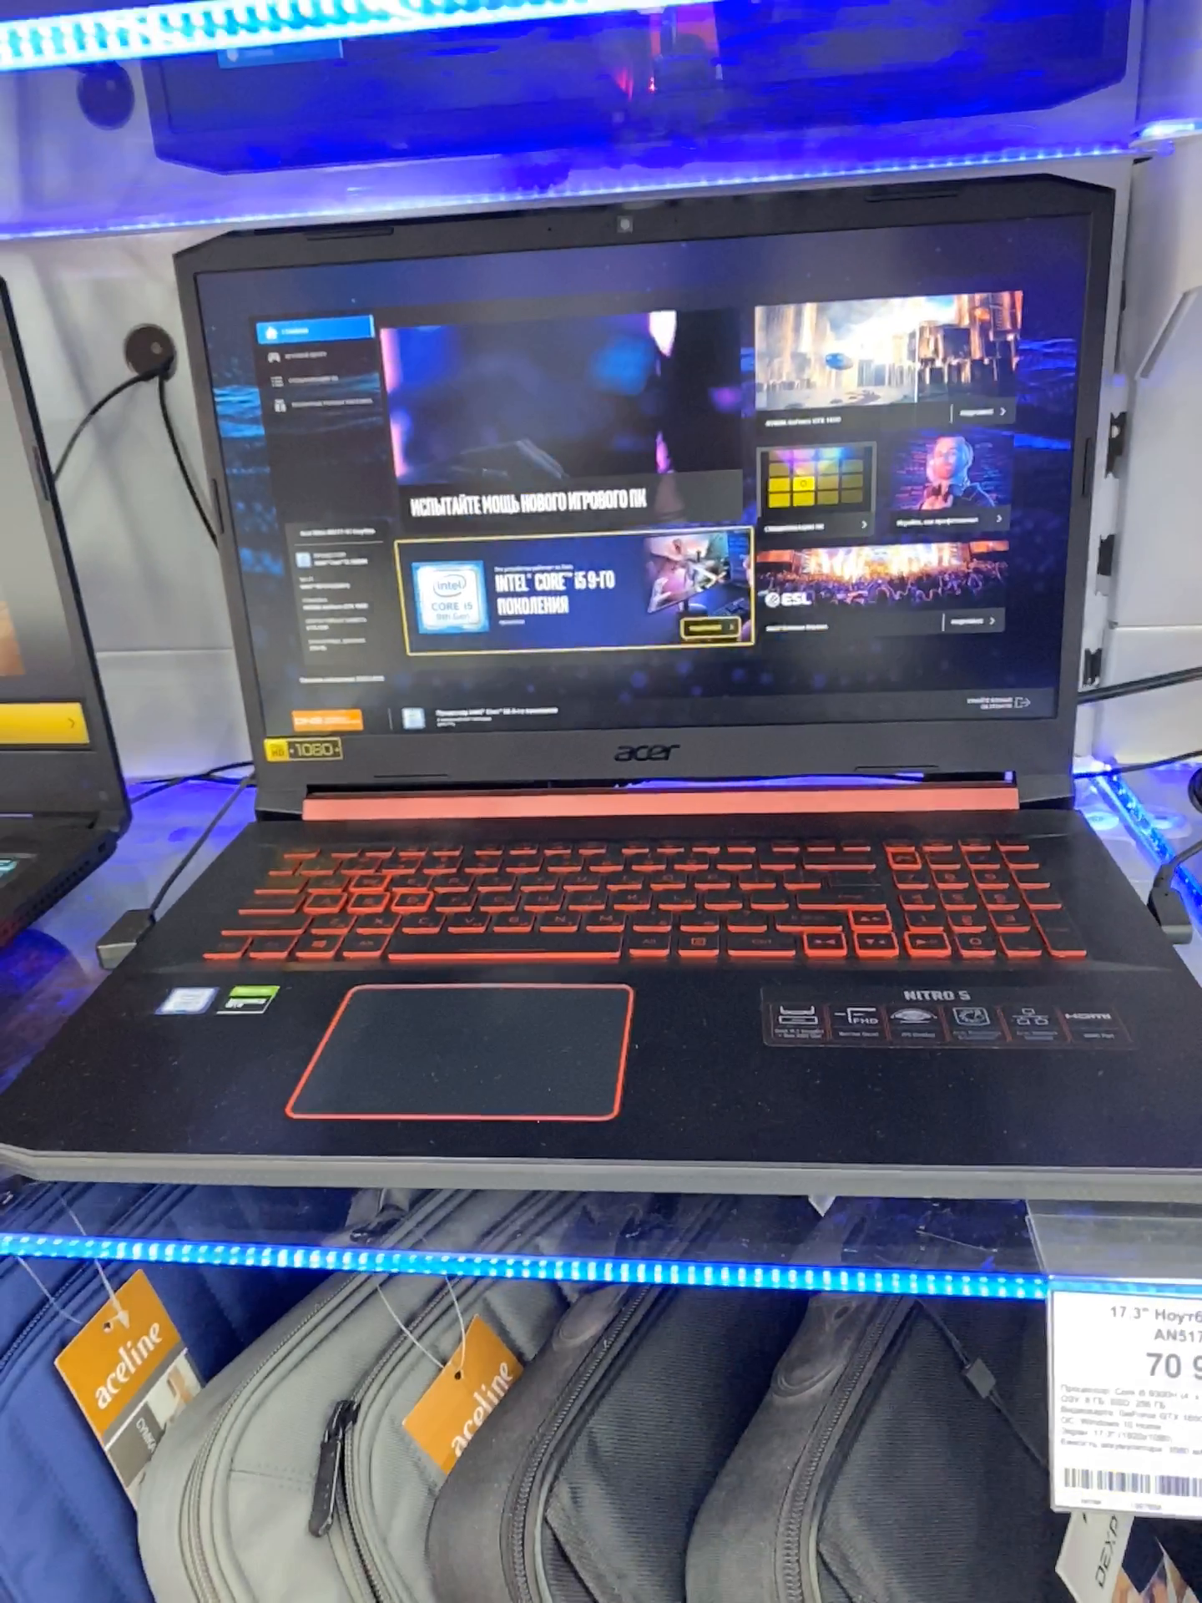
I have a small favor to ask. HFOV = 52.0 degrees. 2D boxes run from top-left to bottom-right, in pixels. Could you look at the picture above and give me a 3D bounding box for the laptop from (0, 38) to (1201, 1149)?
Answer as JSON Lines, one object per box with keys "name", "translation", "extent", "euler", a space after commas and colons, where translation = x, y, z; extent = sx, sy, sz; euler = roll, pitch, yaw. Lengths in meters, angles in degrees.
{"name": "laptop", "translation": [0.006, -0.074, 0.446], "extent": [0.406, 0.267, 0.285], "euler": [-1, 21, 6]}
